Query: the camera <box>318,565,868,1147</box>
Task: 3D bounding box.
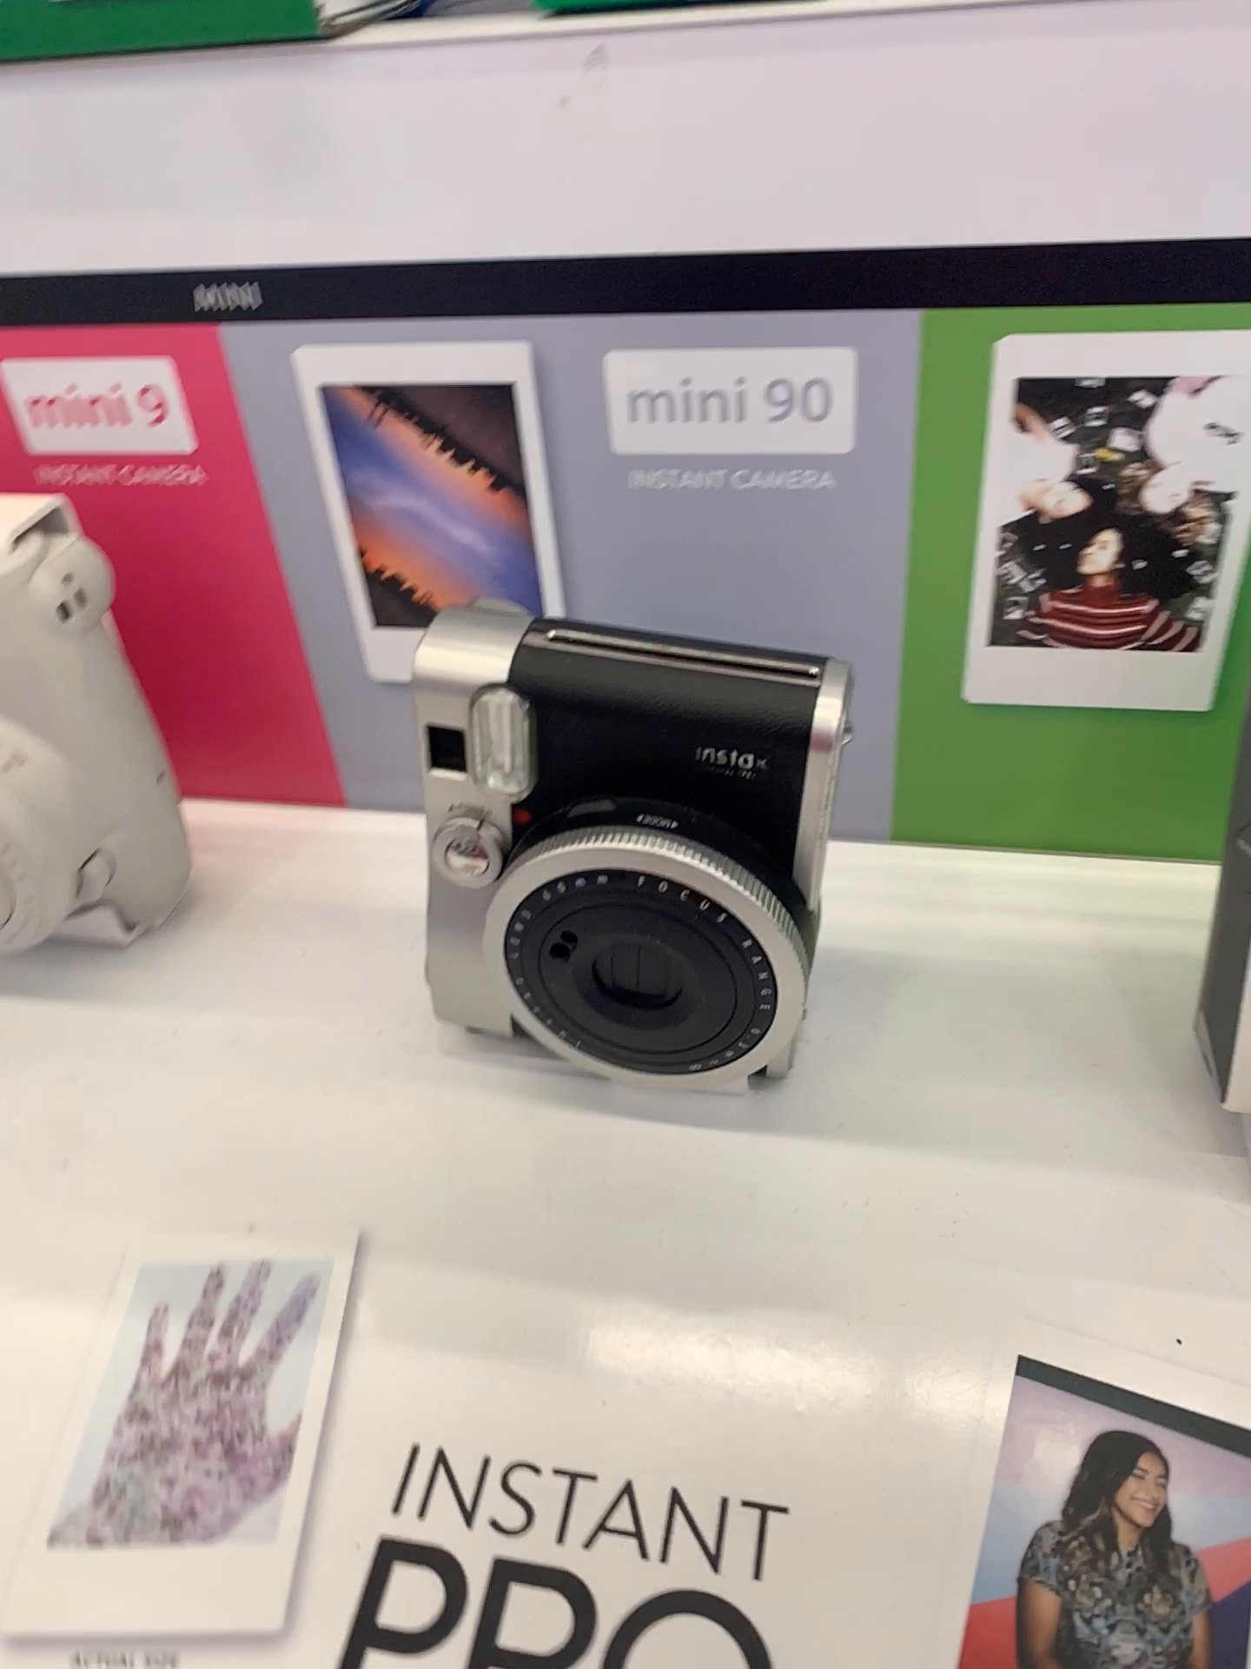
[{"bbox_3d":[-0.004,0.006,0.292,0.100,0.109,0.050,10,40,13],"label":"camera"}]
